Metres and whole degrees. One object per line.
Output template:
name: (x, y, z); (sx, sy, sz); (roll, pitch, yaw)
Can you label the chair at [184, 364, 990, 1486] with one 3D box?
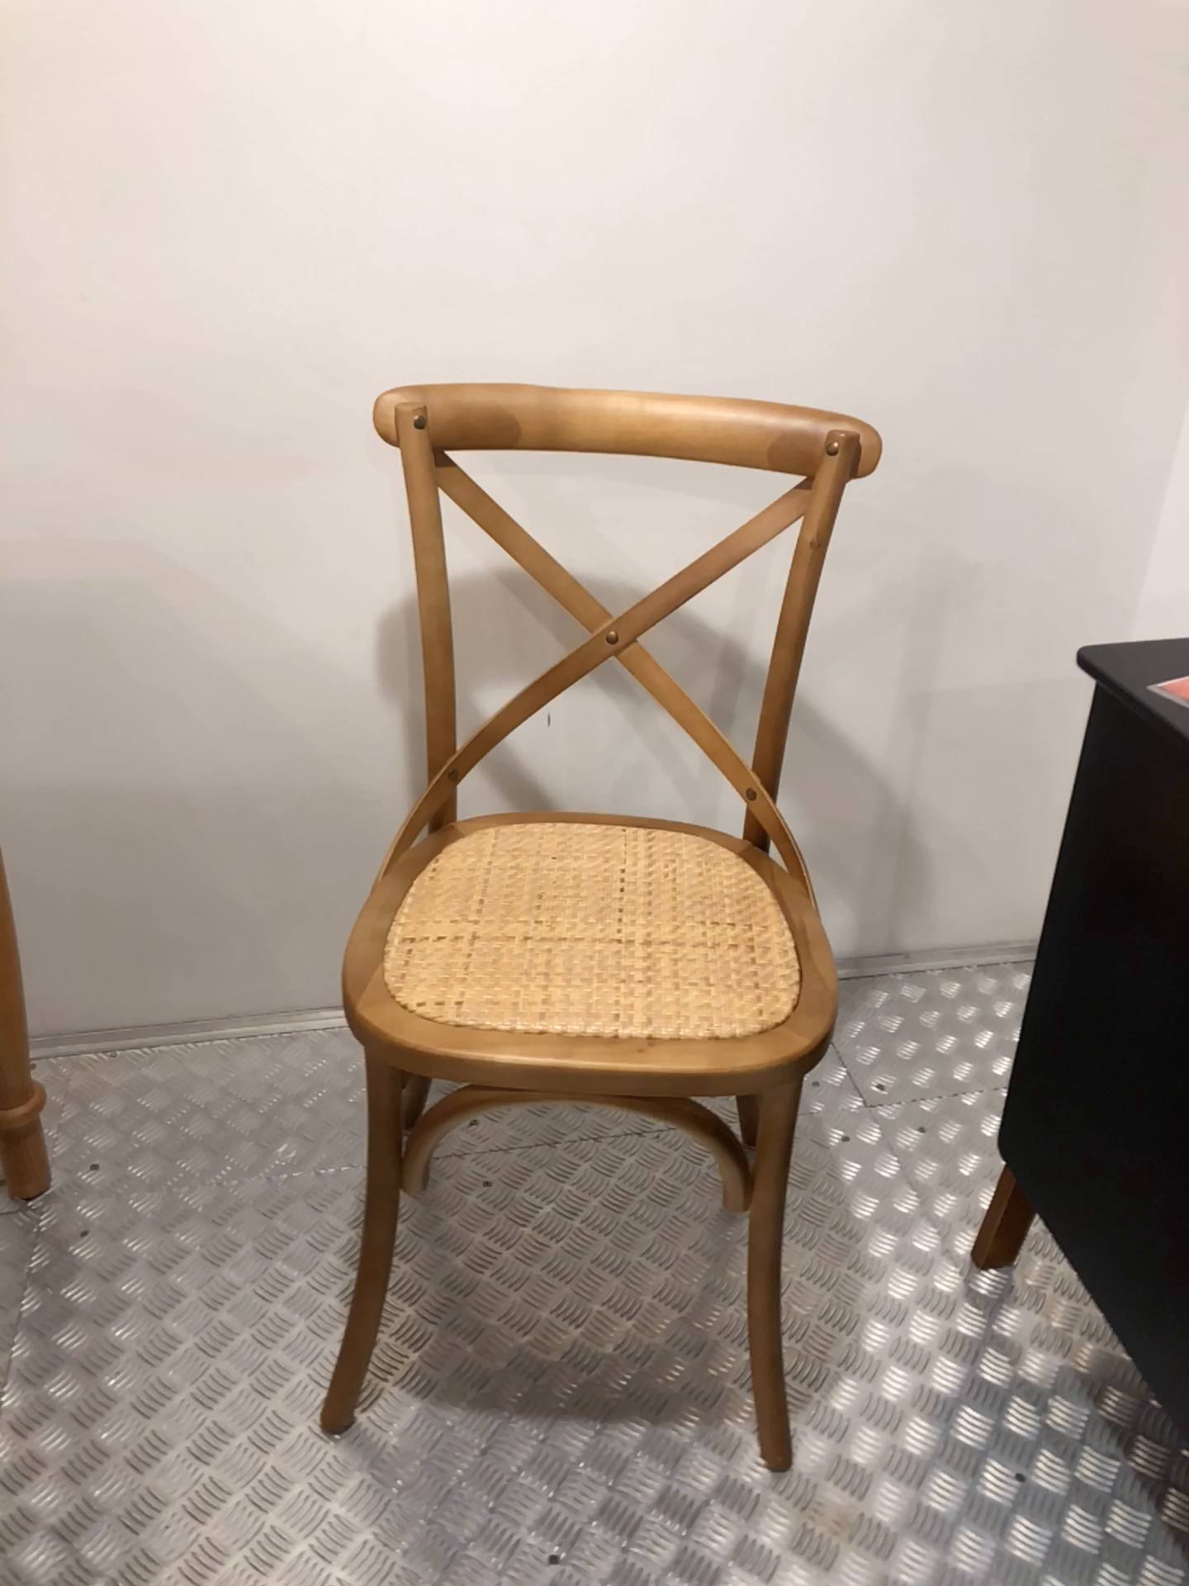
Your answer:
chair: (-0.001, 0.106, 1.251); (0.500, 0.873, 0.544); (4, 28, 3)
